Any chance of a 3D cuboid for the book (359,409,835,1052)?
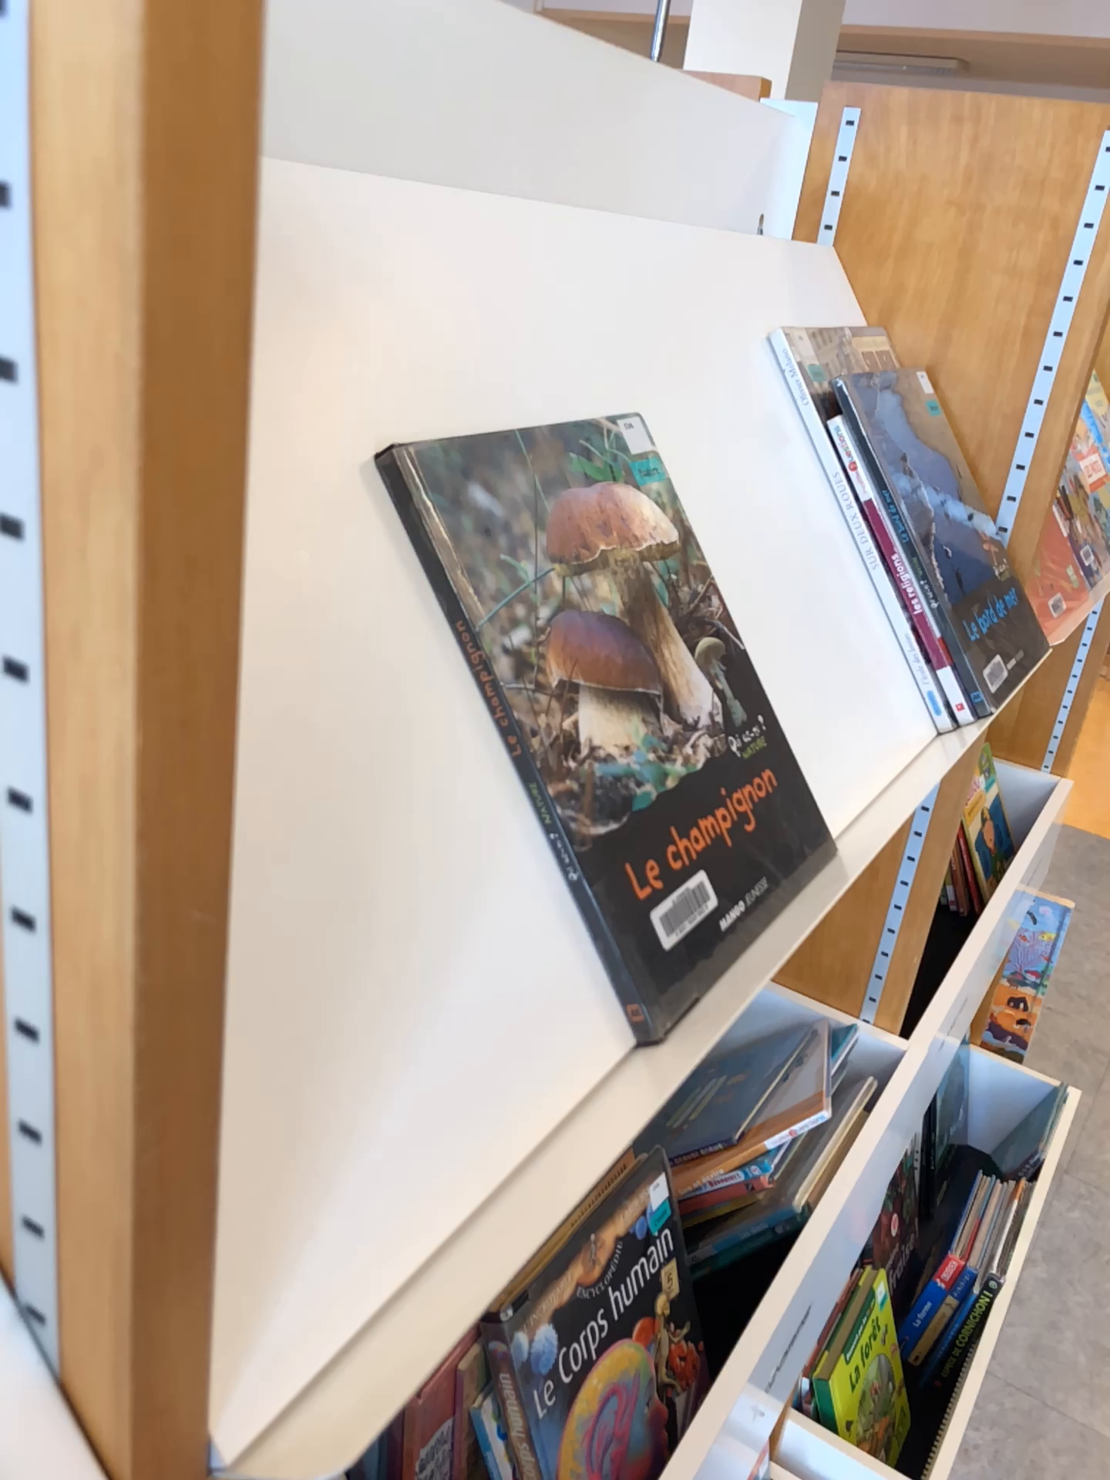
[{"bbox_3d":[0.035,-0.023,0.534,0.020,0.242,0.203,-22,4,35],"label":"book"}]
